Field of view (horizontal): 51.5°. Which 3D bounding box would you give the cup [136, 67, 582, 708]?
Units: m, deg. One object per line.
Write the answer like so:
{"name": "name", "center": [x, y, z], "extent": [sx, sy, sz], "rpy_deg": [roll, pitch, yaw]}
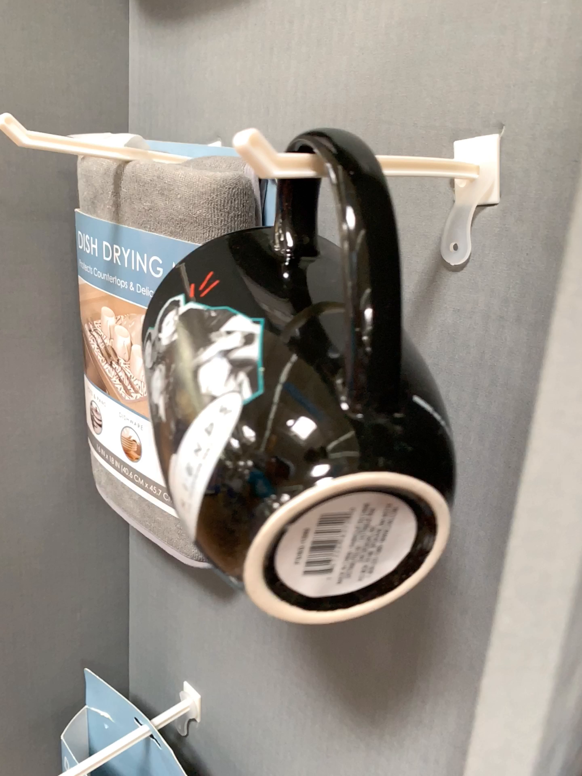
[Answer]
{"name": "cup", "center": [0.005, -0.006, 0.174], "extent": [0.086, 0.127, 0.116], "rpy_deg": [0, 35, -18]}
